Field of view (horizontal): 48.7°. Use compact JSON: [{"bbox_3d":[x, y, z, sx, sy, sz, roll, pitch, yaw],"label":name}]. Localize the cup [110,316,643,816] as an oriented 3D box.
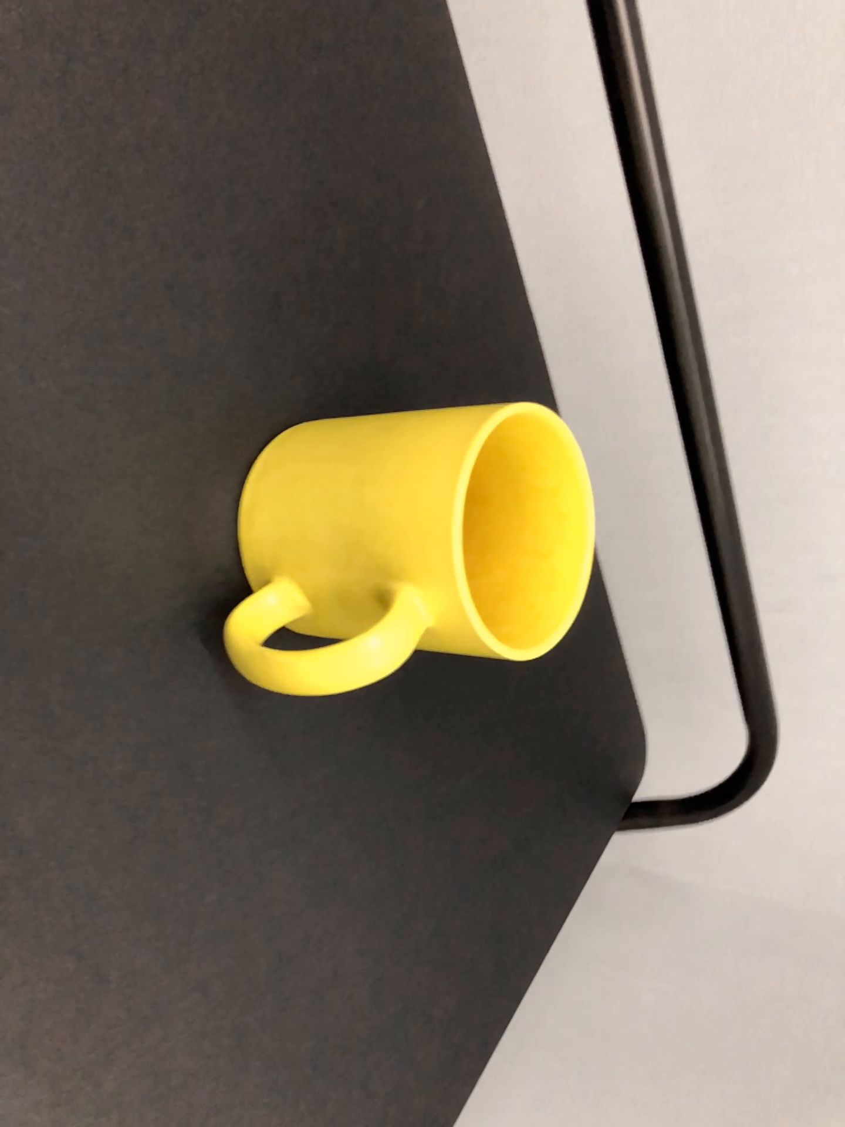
[{"bbox_3d":[-0.007,-0.004,0.311,0.126,0.101,0.090,-55,132,-35],"label":"cup"}]
